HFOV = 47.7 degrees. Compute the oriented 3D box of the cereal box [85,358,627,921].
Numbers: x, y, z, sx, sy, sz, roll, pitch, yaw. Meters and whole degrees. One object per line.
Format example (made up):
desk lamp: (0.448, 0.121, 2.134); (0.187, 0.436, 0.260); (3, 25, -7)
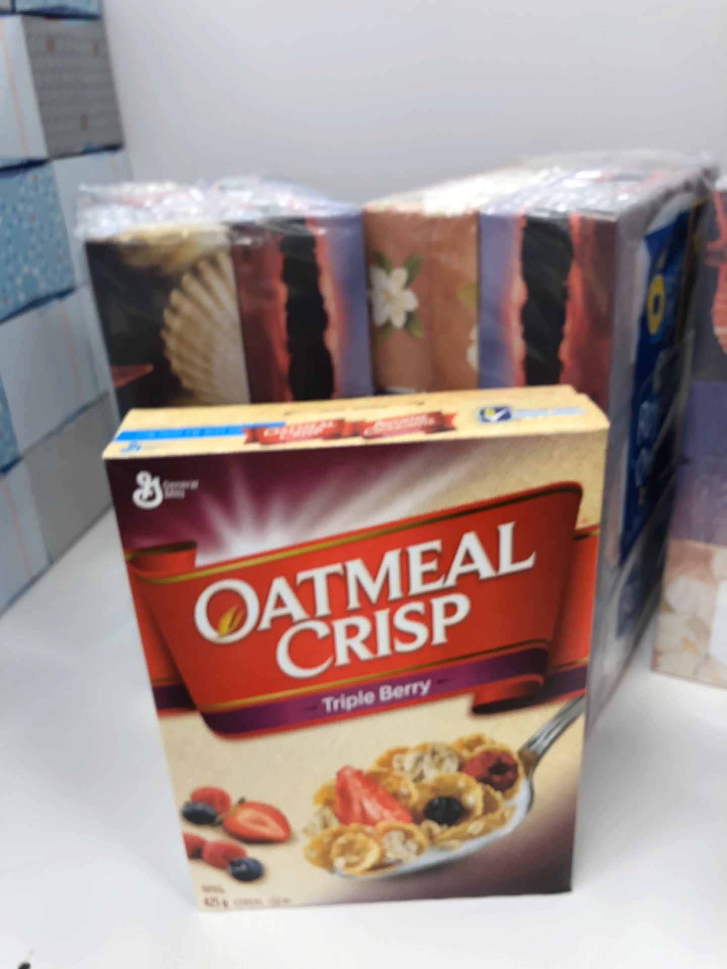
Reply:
cereal box: (0.004, 0.085, 0.388); (0.200, 0.269, 0.060); (-3, 25, 2)
